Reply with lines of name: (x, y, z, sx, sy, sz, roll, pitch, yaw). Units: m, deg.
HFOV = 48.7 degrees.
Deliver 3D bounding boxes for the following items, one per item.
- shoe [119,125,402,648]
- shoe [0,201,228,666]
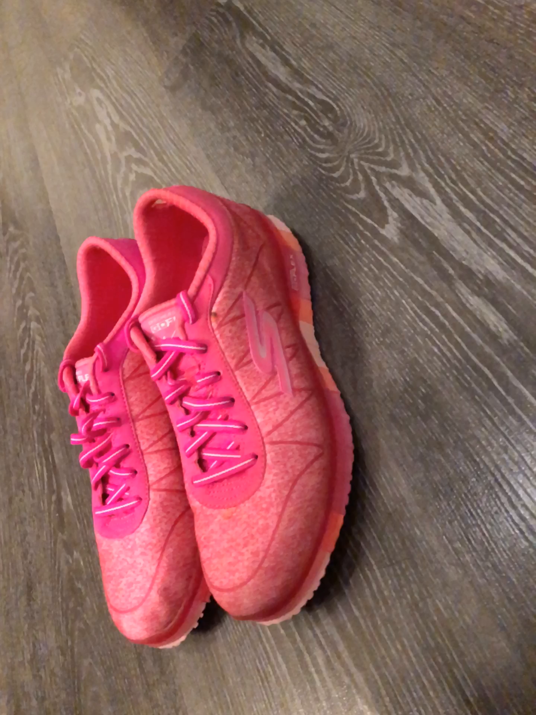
shoe: (-0.016, 0.014, 0.338, 0.100, 0.090, 0.261, -25, 58, 33)
shoe: (-0.094, 0.047, 0.383, 0.100, 0.090, 0.261, -20, 61, 35)
